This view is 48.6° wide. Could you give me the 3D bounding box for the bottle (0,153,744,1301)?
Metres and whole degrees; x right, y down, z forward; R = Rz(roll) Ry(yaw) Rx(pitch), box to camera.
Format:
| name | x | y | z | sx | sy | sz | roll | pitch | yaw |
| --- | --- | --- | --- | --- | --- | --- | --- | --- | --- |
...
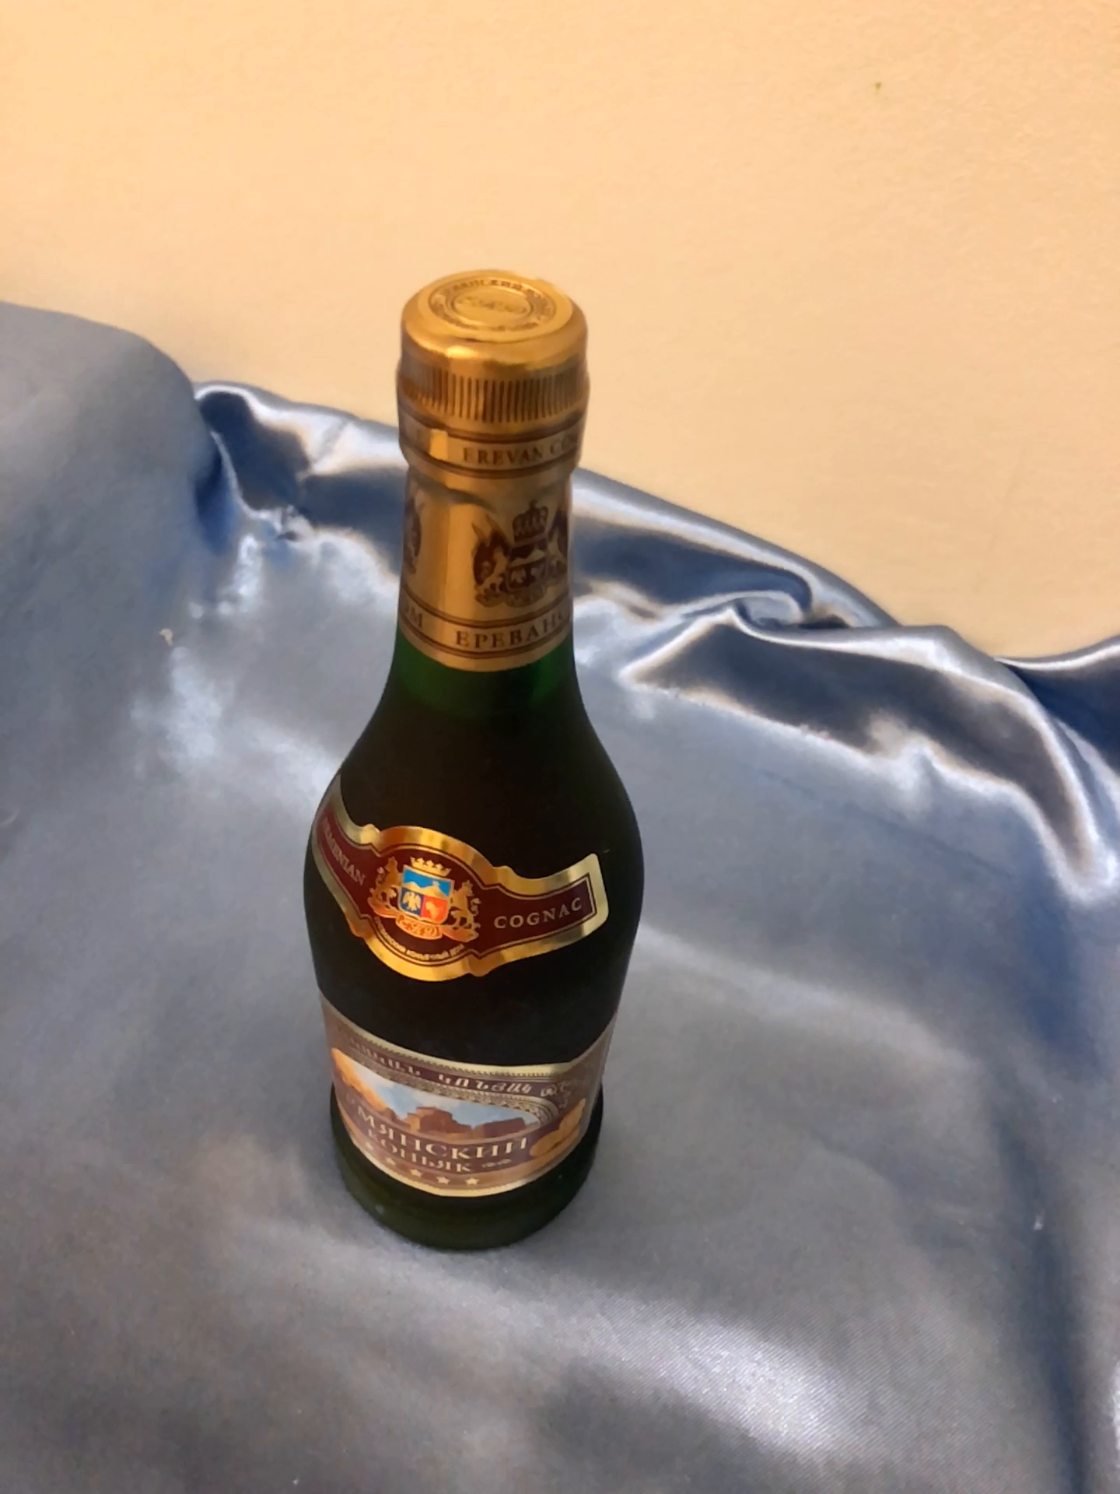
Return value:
| name | x | y | z | sx | sy | sz | roll | pitch | yaw |
| --- | --- | --- | --- | --- | --- | --- | --- | --- | --- |
| bottle | -0.023 | 0.024 | 0.256 | 0.080 | 0.247 | 0.074 | 0 | 48 | 0 |
